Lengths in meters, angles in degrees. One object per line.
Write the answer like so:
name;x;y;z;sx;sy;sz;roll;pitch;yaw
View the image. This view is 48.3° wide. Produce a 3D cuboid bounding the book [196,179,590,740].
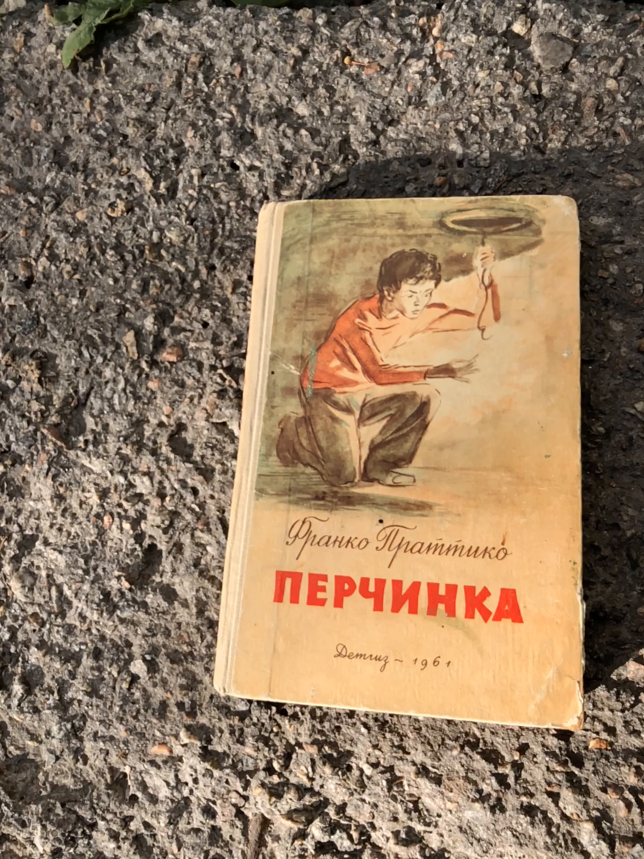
book;0.031;0.002;0.278;0.132;0.030;0.203;3;77;8
